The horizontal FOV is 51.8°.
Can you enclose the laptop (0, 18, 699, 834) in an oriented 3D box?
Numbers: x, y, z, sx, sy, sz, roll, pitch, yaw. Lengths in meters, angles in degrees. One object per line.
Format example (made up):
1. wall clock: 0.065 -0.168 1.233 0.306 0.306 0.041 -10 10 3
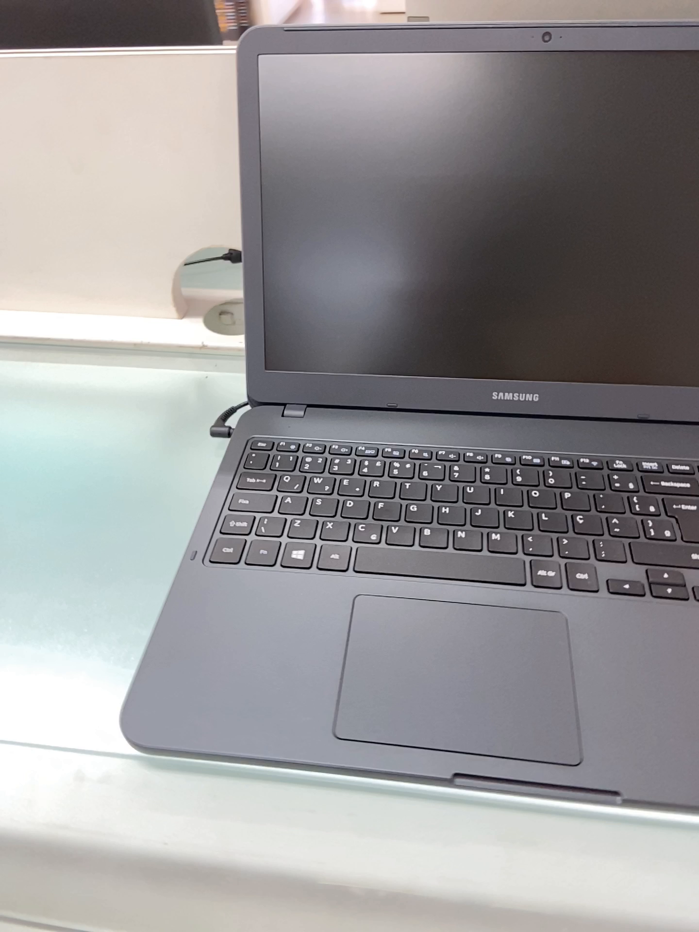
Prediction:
1. laptop: 0.093 -0.061 0.355 0.363 0.208 0.344 3 42 8
